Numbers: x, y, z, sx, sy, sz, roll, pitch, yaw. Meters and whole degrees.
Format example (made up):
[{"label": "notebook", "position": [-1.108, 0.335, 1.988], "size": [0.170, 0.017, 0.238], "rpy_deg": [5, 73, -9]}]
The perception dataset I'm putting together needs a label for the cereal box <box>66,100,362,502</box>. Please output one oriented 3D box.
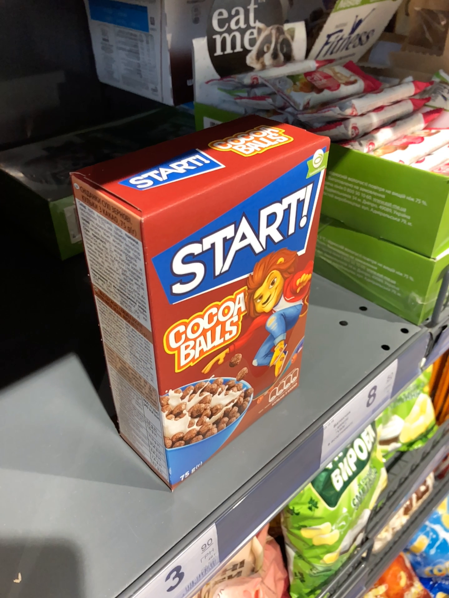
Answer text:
[{"label": "cereal box", "position": [-0.002, 0.003, 0.258], "size": [0.111, 0.169, 0.060], "rpy_deg": [-31, 49, -34]}]
